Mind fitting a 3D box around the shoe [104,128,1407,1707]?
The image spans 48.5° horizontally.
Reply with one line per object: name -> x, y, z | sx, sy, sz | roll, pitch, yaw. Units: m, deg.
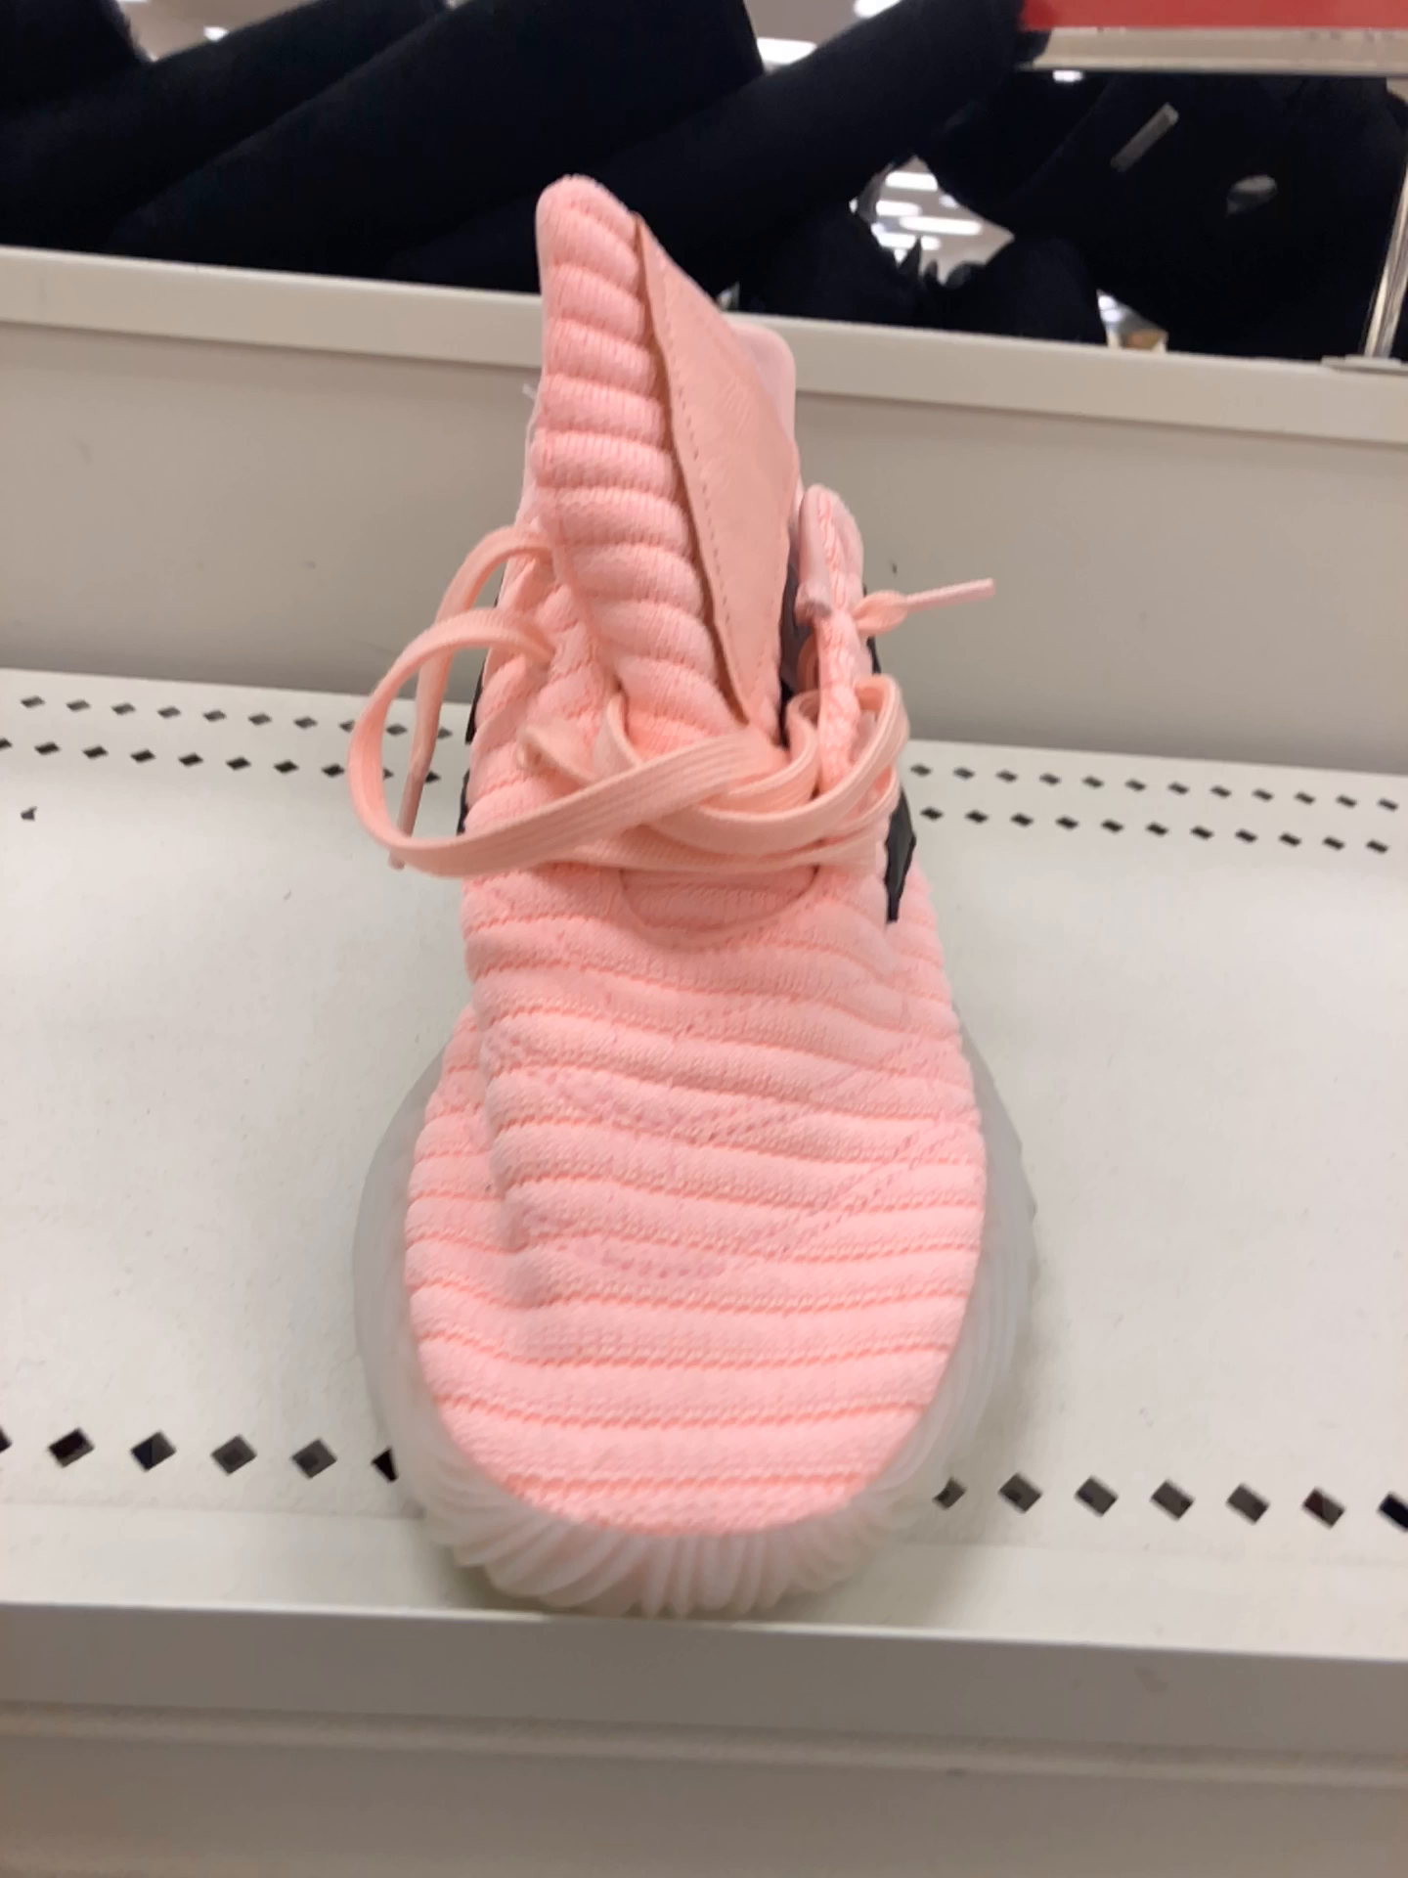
shoe -> 0.010, -0.053, 0.314 | 0.120, 0.169, 0.323 | 5, 31, 0
